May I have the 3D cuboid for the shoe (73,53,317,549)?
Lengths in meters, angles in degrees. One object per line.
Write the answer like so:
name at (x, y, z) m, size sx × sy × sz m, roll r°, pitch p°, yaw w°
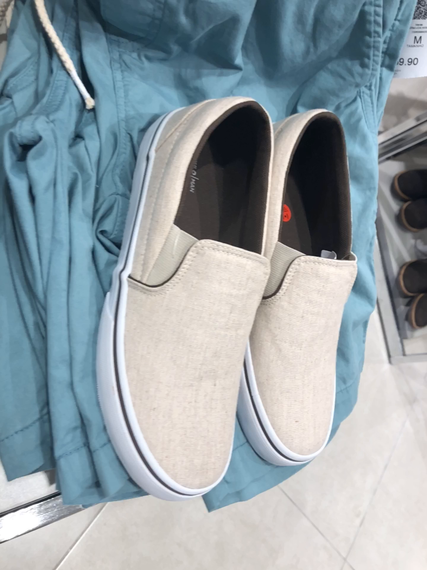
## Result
shoe at (-0.010, 0.009, 0.311) m, size 0.100 × 0.090 × 0.260 m, roll 11°, pitch 81°, yaw -32°

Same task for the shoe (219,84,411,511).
shoe at (0.072, 0.007, 0.354) m, size 0.101 × 0.090 × 0.260 m, roll 2°, pitch 86°, yaw -34°
